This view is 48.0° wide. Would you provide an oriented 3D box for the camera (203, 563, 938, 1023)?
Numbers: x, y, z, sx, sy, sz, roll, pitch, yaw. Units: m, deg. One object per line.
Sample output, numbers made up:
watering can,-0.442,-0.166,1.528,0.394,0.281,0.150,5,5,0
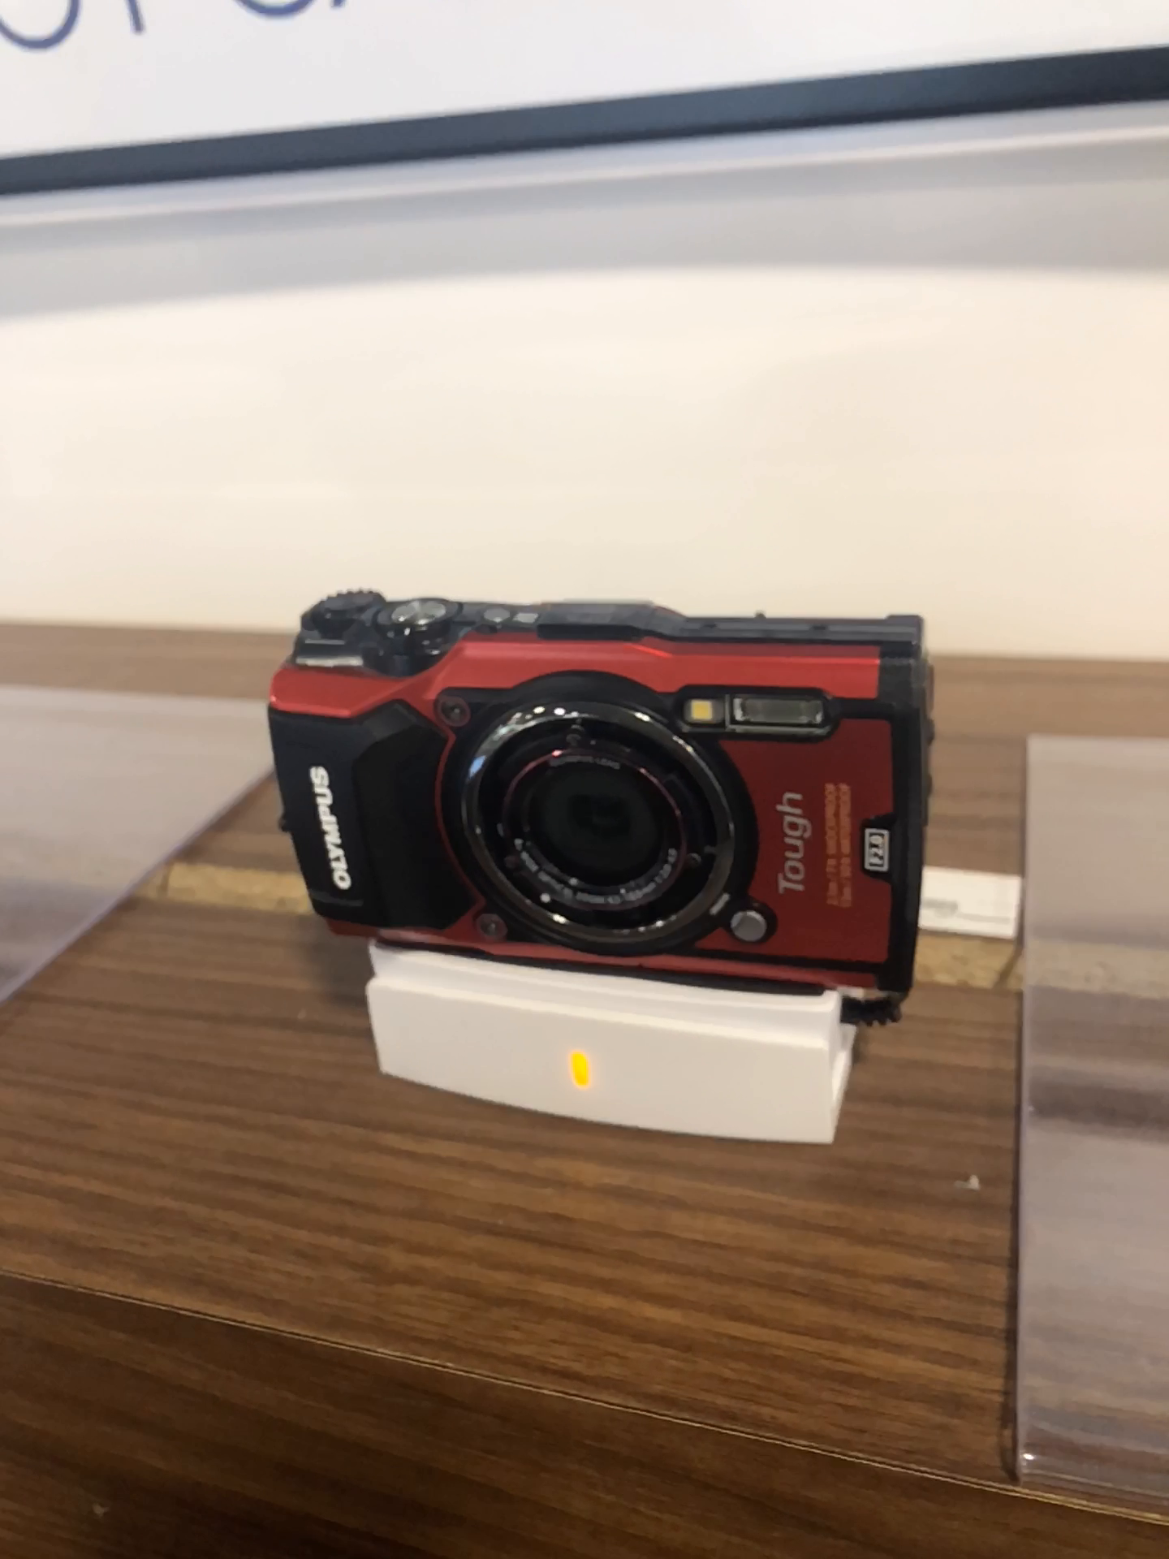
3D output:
camera,-0.001,-0.001,0.227,0.117,0.064,0.030,4,27,19
